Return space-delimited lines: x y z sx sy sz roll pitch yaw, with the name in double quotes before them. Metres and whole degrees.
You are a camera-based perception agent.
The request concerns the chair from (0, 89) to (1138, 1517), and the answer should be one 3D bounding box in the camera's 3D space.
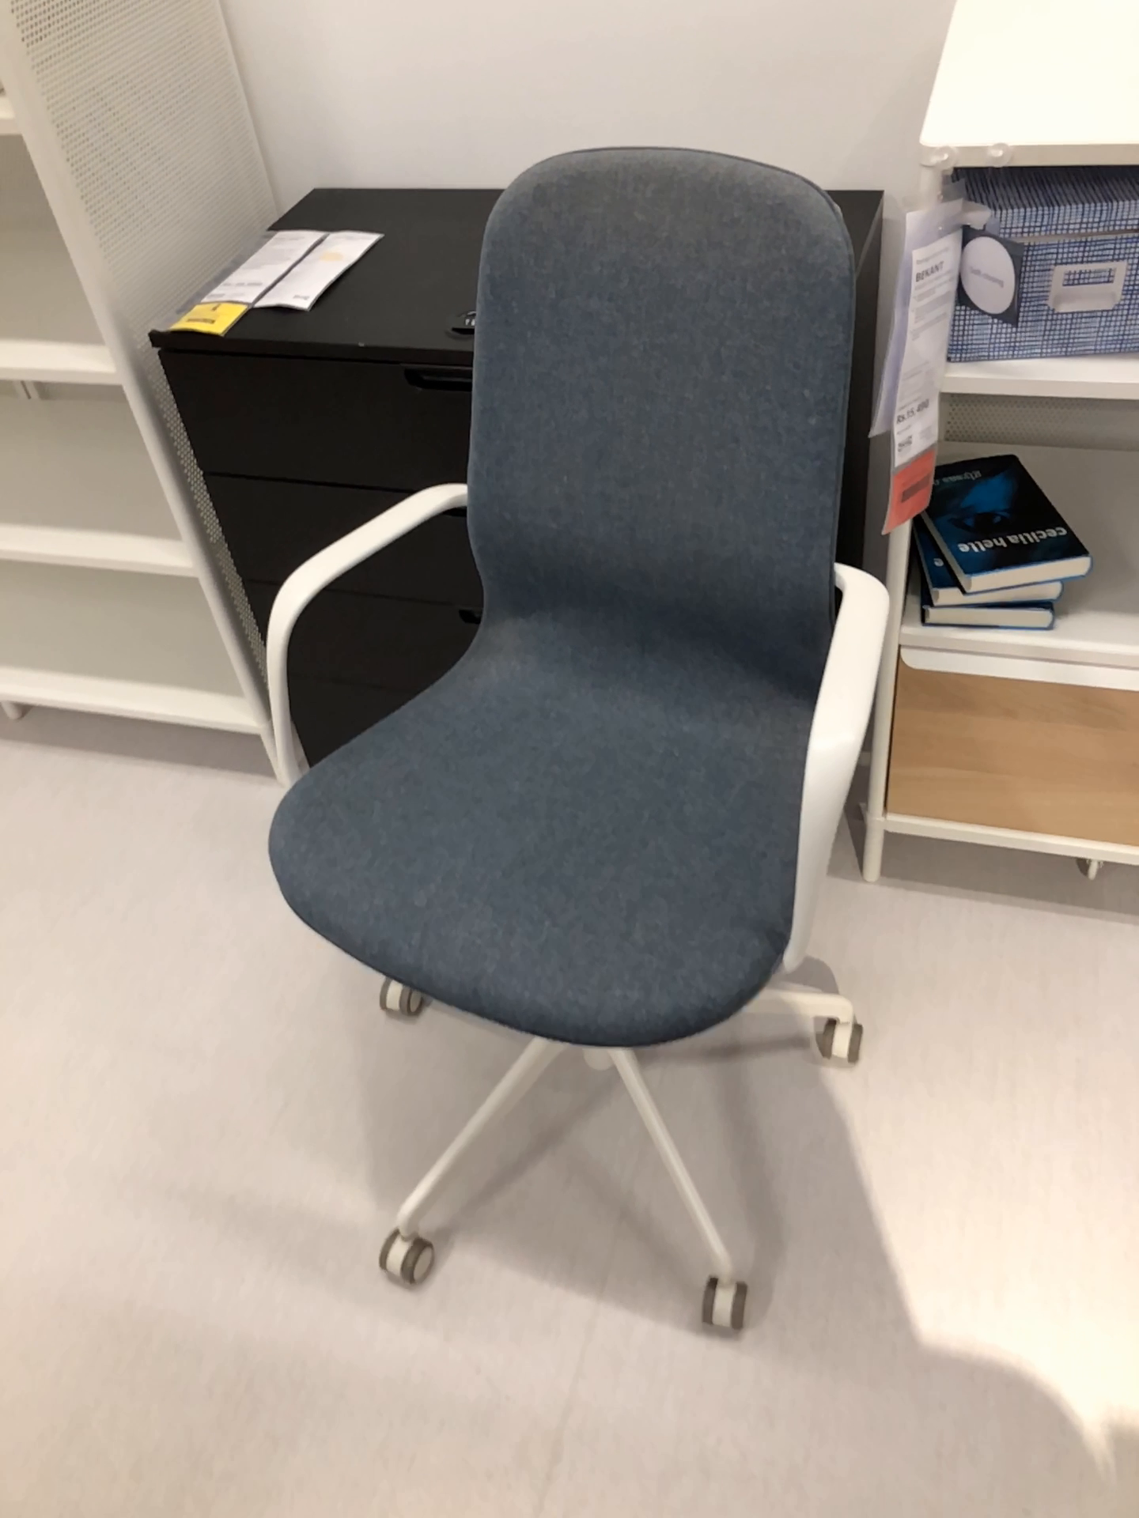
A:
"chair" -0.033 0.041 1.219 0.702 0.994 0.702 30 56 33
